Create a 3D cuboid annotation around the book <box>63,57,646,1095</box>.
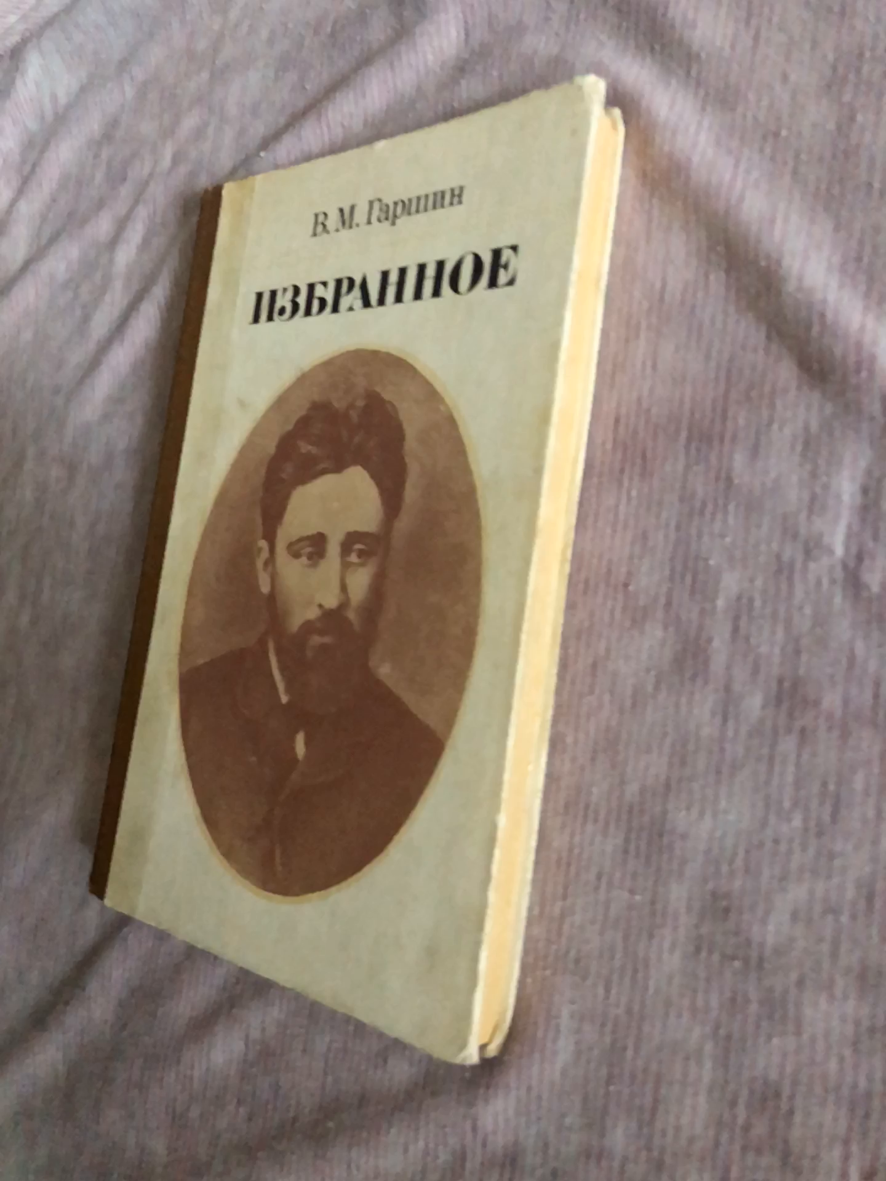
[{"bbox_3d":[-0.031,-0.010,0.262,0.142,0.030,0.220,5,85,39],"label":"book"}]
